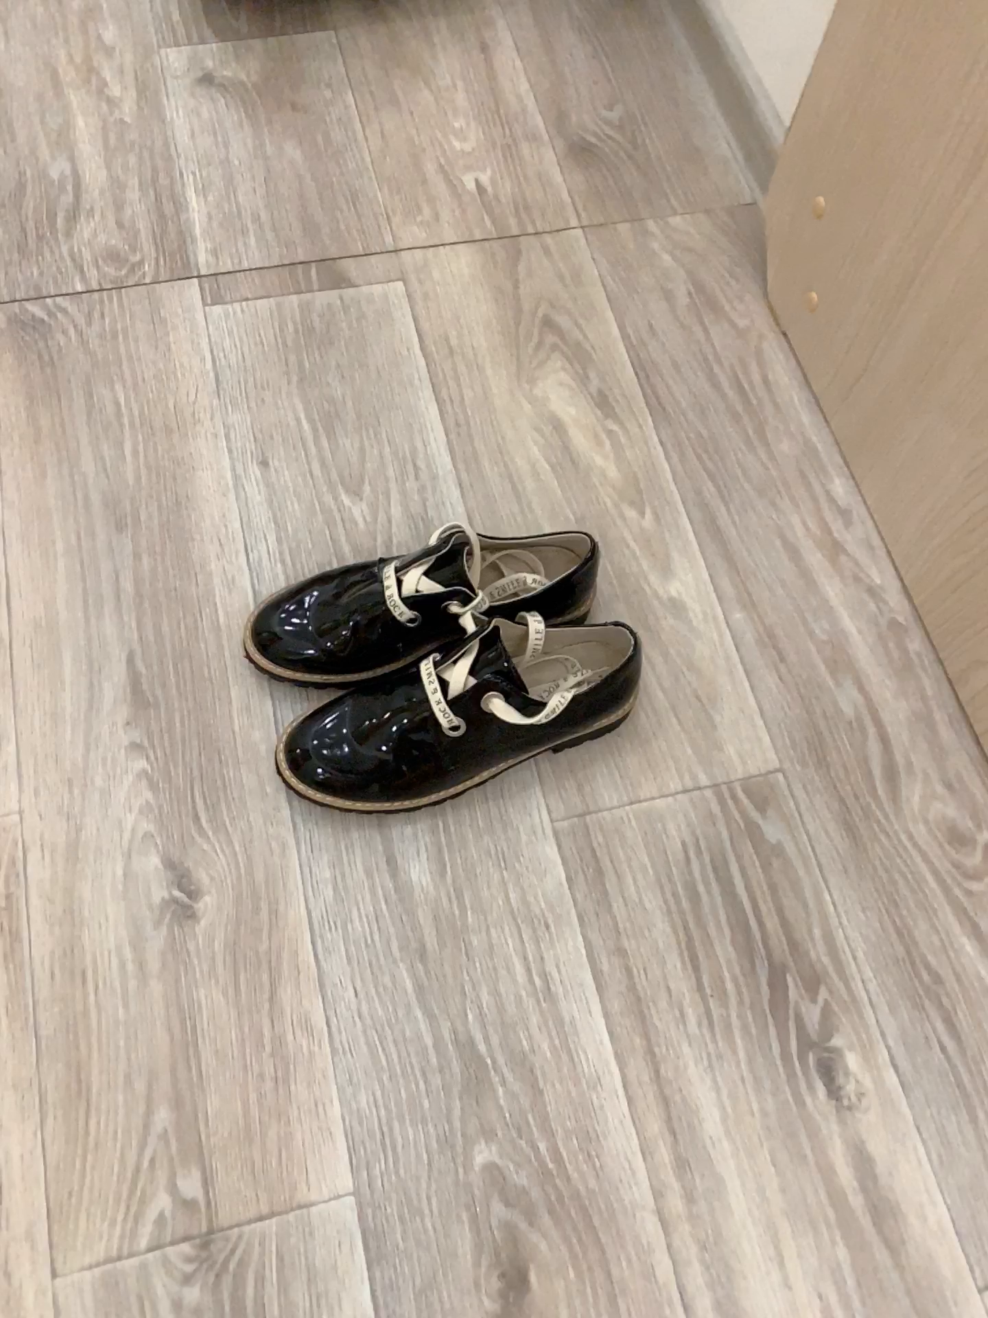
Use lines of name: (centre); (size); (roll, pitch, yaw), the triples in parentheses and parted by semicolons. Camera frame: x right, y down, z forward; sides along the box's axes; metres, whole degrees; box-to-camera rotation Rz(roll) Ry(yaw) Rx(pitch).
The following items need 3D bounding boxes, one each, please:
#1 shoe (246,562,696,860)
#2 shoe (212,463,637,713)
shoe: (-0.016, 0.036, 0.693); (0.270, 0.100, 0.100); (-17, 68, -11)
shoe: (-0.050, -0.050, 0.726); (0.270, 0.100, 0.100); (-10, 67, -8)
